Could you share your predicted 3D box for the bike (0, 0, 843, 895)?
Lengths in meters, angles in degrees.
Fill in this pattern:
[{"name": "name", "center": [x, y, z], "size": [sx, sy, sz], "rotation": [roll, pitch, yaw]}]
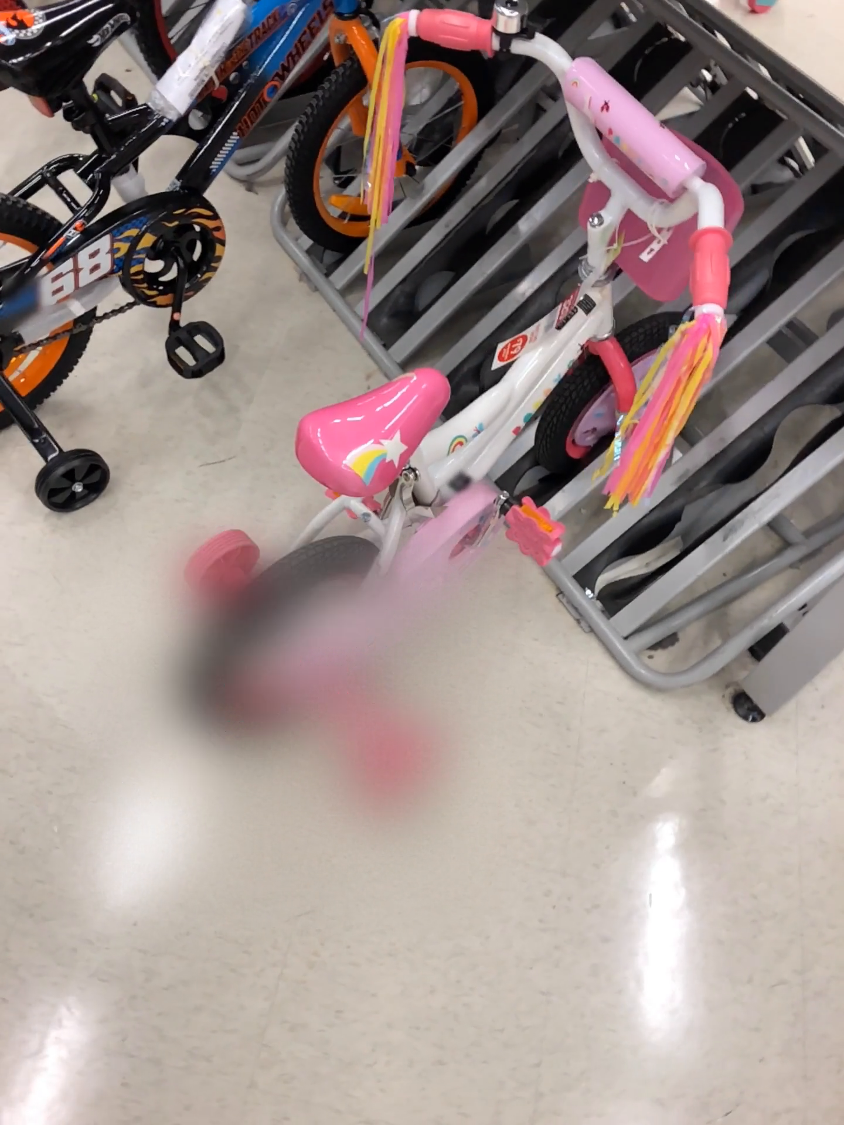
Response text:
[{"name": "bike", "center": [0.099, -0.212, 1.068], "size": [0.944, 0.592, 0.516], "rotation": [-36, 68, -26]}]
